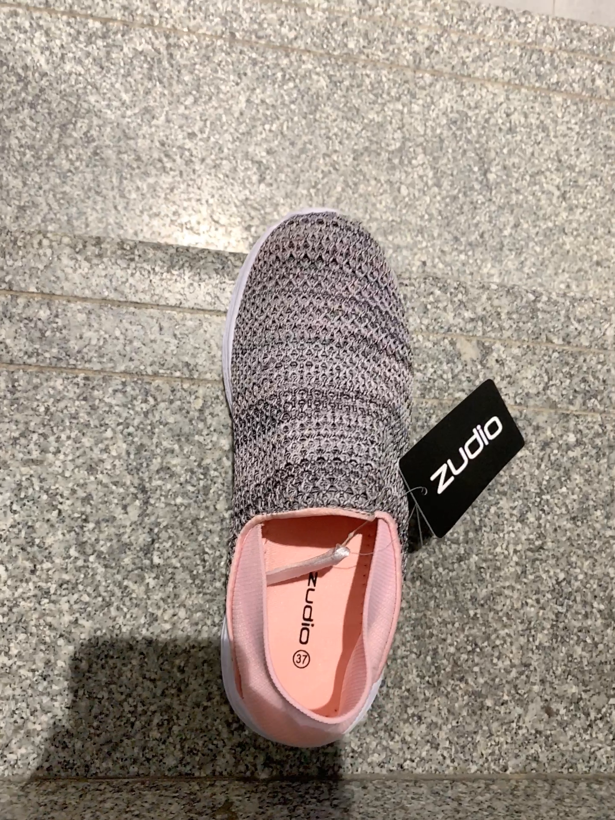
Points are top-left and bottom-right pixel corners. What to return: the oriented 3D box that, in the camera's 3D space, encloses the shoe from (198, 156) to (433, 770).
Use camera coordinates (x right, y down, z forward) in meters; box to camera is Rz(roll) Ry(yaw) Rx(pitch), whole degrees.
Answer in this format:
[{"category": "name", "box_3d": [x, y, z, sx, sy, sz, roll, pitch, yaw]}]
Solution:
[{"category": "shoe", "box_3d": [-0.001, 0.023, 0.306, 0.090, 0.080, 0.250, 3, 89, -9]}]
